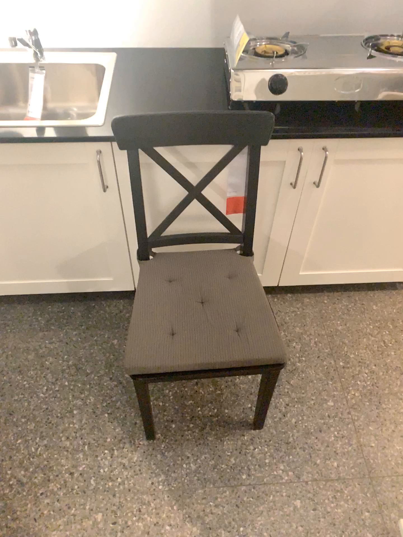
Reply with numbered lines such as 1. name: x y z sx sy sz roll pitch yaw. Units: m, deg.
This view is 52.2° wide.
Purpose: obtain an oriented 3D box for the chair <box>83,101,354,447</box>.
1. chair: -0.001 0.061 1.087 0.420 0.787 0.492 -4 48 -5
